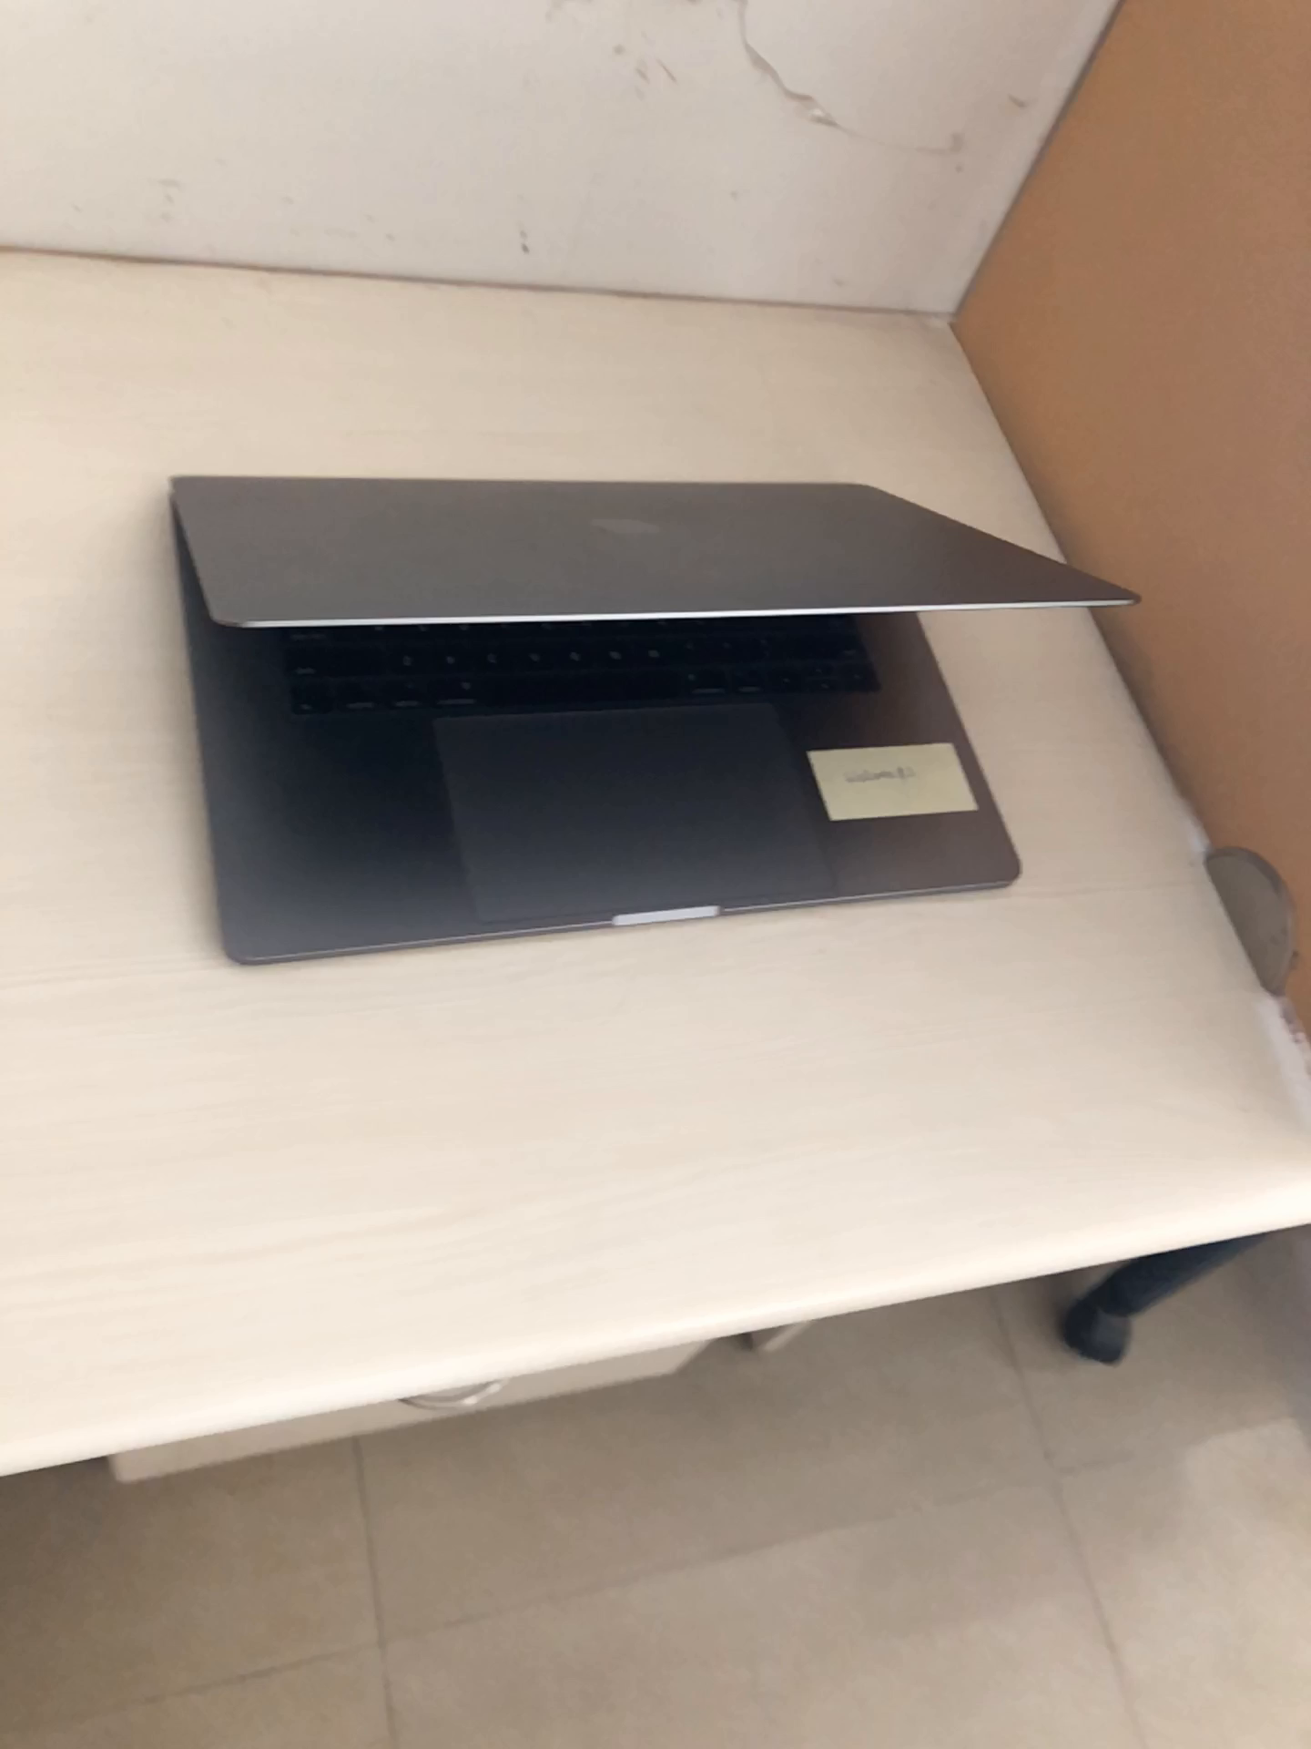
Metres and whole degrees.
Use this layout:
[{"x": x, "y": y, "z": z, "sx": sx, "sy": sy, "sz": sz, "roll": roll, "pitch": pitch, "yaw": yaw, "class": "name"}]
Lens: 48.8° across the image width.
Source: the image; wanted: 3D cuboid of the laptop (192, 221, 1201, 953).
[{"x": -0.003, "y": -0.118, "z": 0.576, "sx": 0.330, "sy": 0.134, "sz": 0.234, "roll": -4, "pitch": 59, "yaw": -20, "class": "laptop"}]
